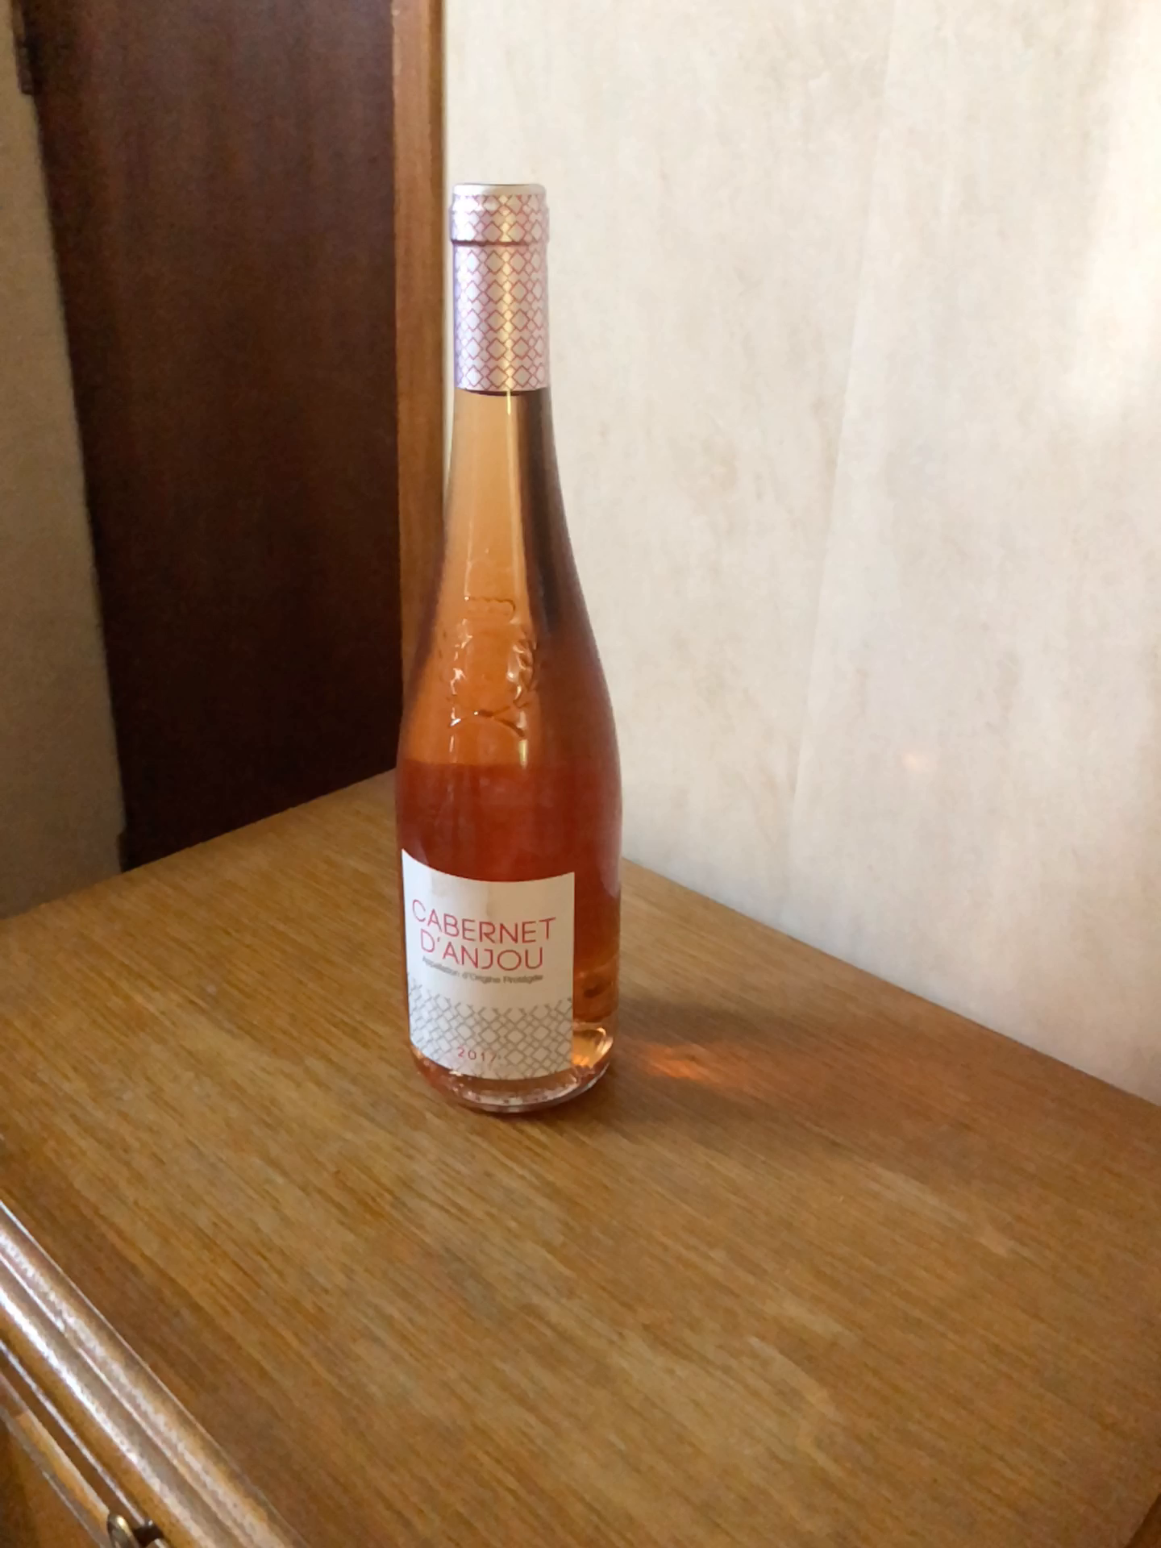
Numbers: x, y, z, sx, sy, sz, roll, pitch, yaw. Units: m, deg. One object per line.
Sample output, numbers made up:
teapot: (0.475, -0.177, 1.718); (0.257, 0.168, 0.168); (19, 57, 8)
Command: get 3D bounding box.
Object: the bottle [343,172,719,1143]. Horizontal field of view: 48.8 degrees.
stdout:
bottle: (-0.015, -0.034, 0.426); (0.080, 0.298, 0.091); (10, 26, 16)
